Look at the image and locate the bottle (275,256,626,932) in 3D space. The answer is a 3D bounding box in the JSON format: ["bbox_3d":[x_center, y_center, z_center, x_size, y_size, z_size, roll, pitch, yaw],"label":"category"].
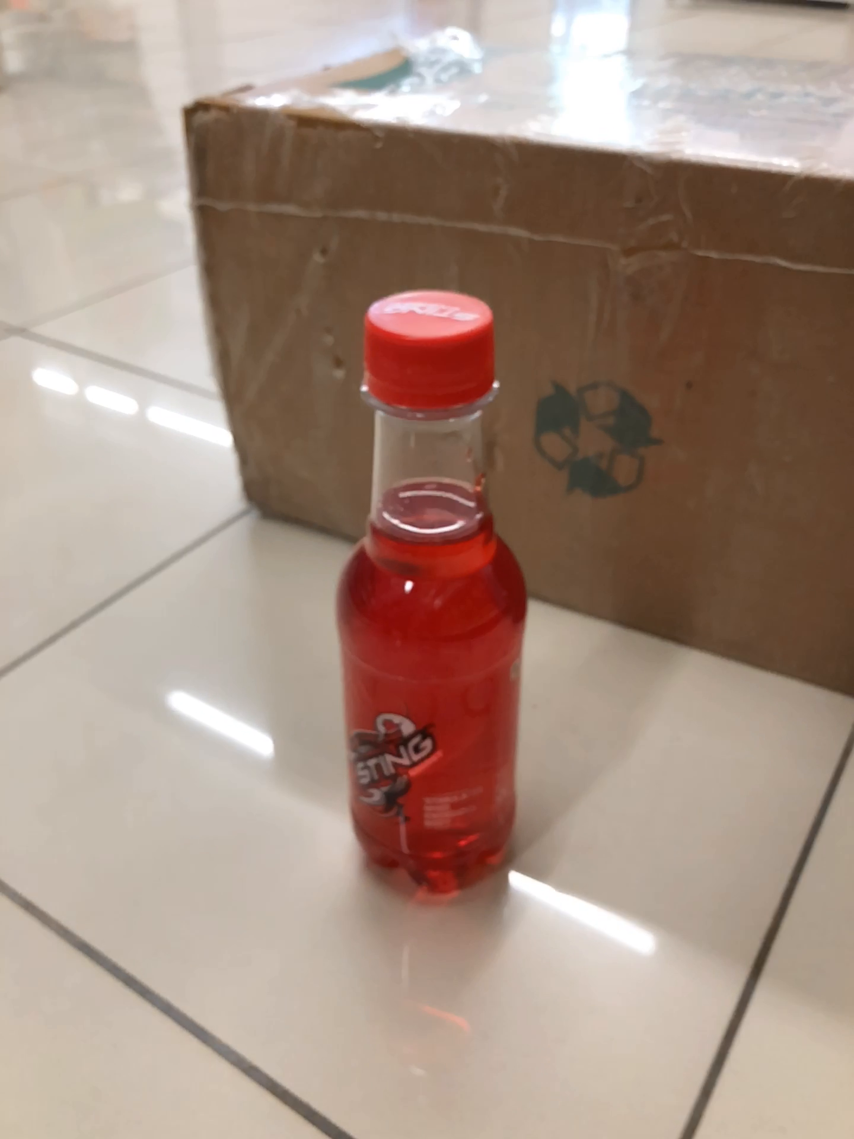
[{"bbox_3d":[0.008,0.013,0.278,0.060,0.179,0.060,0,34,0],"label":"bottle"}]
